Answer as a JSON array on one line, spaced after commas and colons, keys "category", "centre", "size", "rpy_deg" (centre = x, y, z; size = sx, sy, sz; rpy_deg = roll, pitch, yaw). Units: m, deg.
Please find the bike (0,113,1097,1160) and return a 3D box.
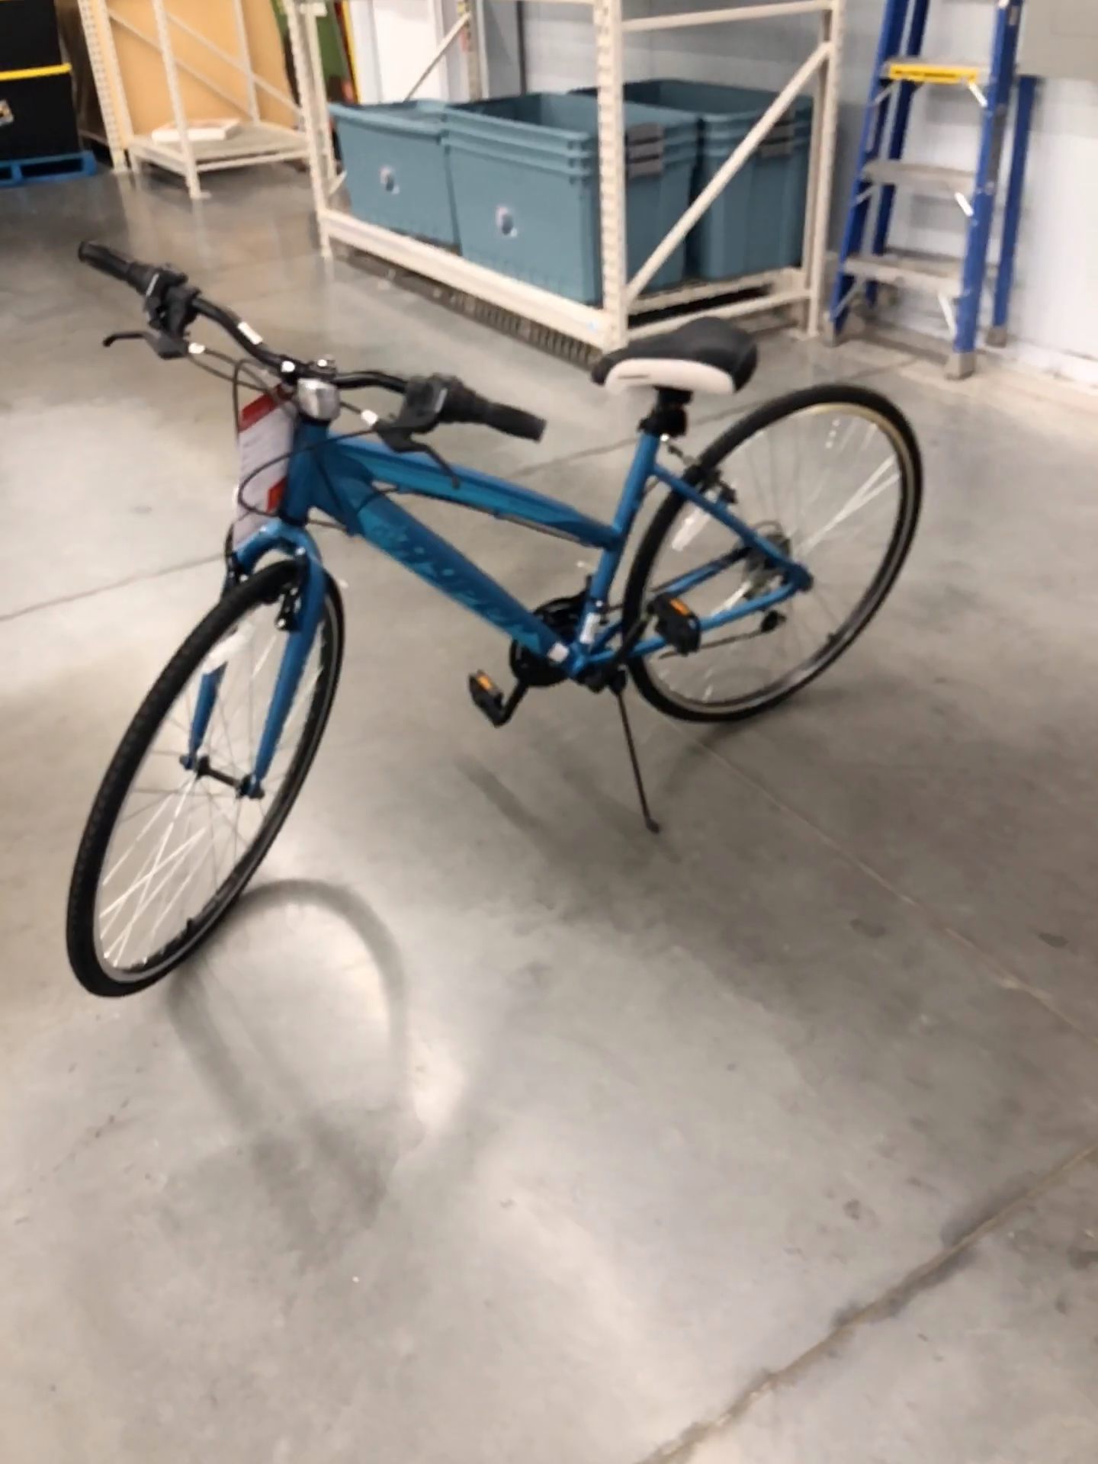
[{"category": "bike", "centre": [0.009, -0.288, 1.810], "size": [1.608, 0.978, 0.580], "rpy_deg": [-25, 40, -31]}]
